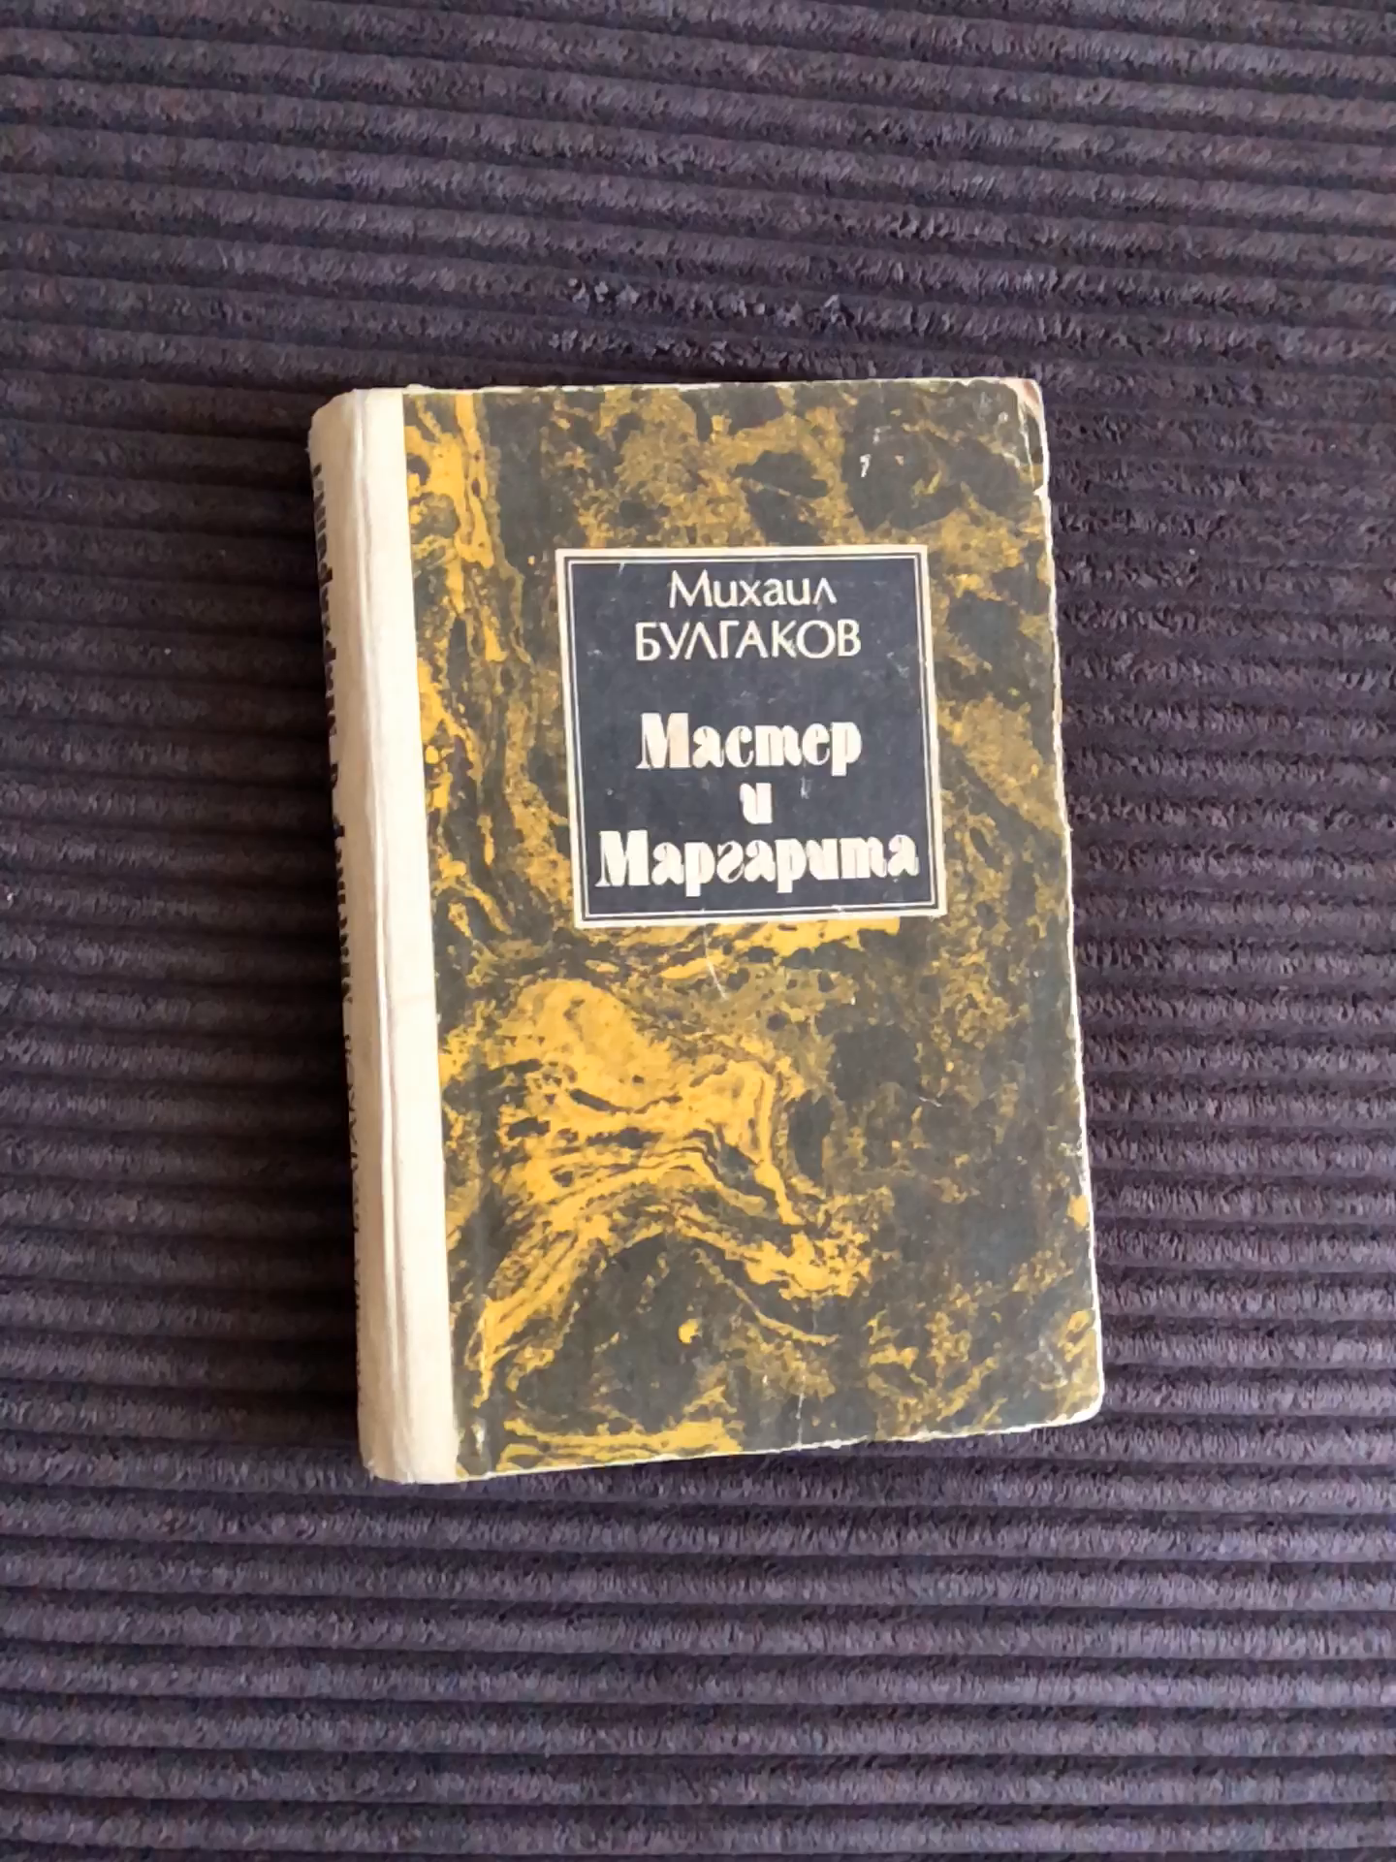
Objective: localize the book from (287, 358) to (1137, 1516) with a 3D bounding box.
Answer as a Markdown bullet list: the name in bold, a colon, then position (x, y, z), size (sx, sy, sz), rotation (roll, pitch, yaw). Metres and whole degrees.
- **book**: position (0.002, -0.003, 0.322), size (0.154, 0.035, 0.220), rotation (-4, 87, -6)
